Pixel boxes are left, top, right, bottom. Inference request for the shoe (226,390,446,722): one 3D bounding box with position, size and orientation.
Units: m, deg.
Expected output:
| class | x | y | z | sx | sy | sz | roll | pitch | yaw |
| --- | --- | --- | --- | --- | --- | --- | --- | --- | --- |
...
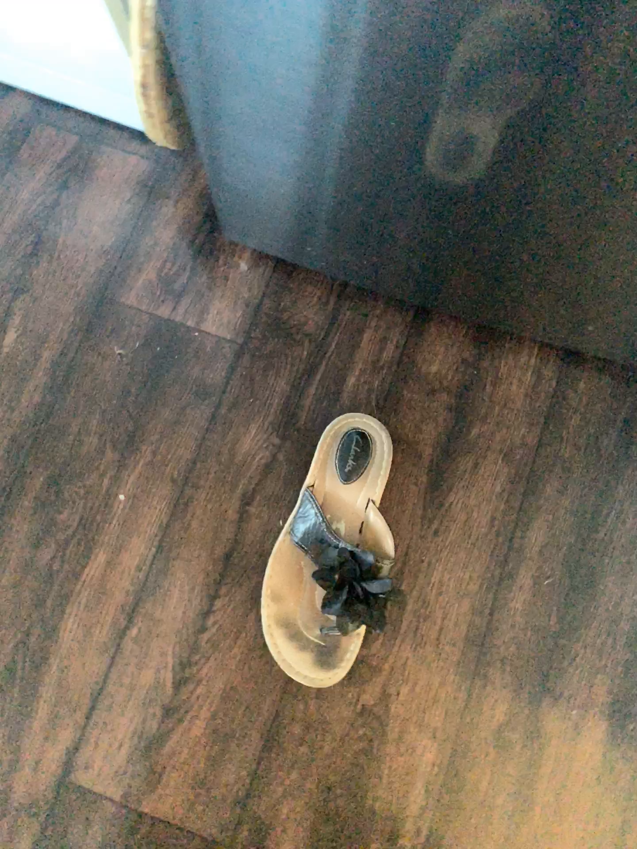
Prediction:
| class | x | y | z | sx | sy | sz | roll | pitch | yaw |
| --- | --- | --- | --- | --- | --- | --- | --- | --- | --- |
| shoe | 0.018 | 0.108 | 0.568 | 0.110 | 0.050 | 0.250 | 19 | 78 | 4 |
